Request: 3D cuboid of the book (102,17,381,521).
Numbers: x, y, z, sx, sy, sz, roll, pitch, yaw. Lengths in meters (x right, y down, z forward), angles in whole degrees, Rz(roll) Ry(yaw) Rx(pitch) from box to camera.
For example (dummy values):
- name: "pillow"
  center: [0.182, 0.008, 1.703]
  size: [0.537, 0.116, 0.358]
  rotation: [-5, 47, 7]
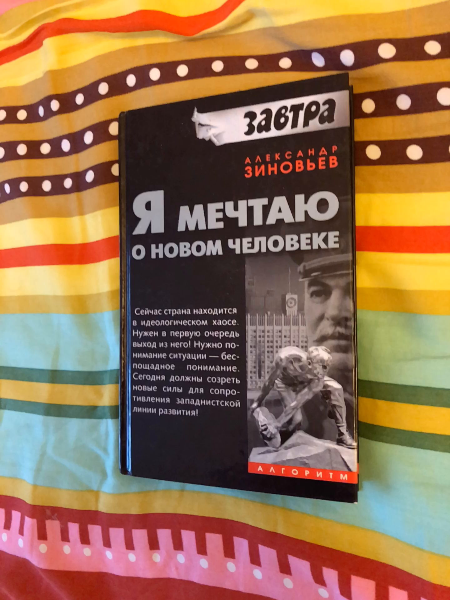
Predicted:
- name: "book"
  center: [0.006, -0.013, 0.257]
  size: [0.140, 0.030, 0.220]
  rotation: [0, 90, 21]
